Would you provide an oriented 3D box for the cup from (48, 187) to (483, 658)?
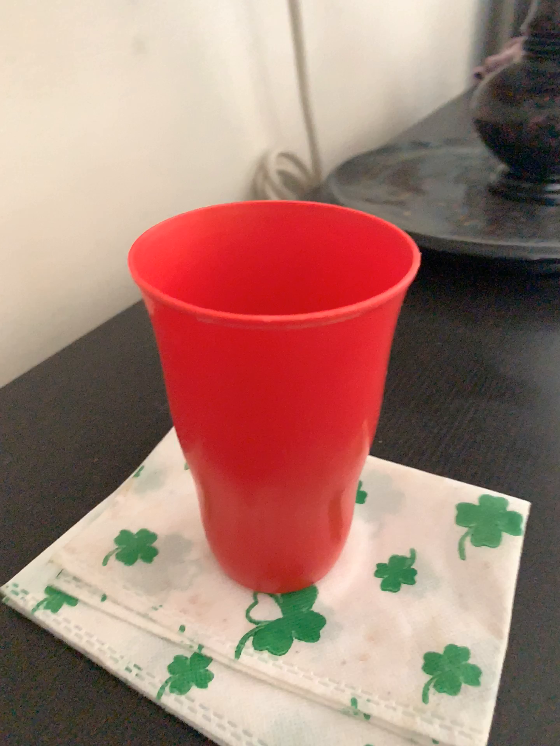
[{"bbox_3d":[-0.003,0.005,0.178,0.082,0.091,0.080,-1,33,1],"label":"cup"}]
